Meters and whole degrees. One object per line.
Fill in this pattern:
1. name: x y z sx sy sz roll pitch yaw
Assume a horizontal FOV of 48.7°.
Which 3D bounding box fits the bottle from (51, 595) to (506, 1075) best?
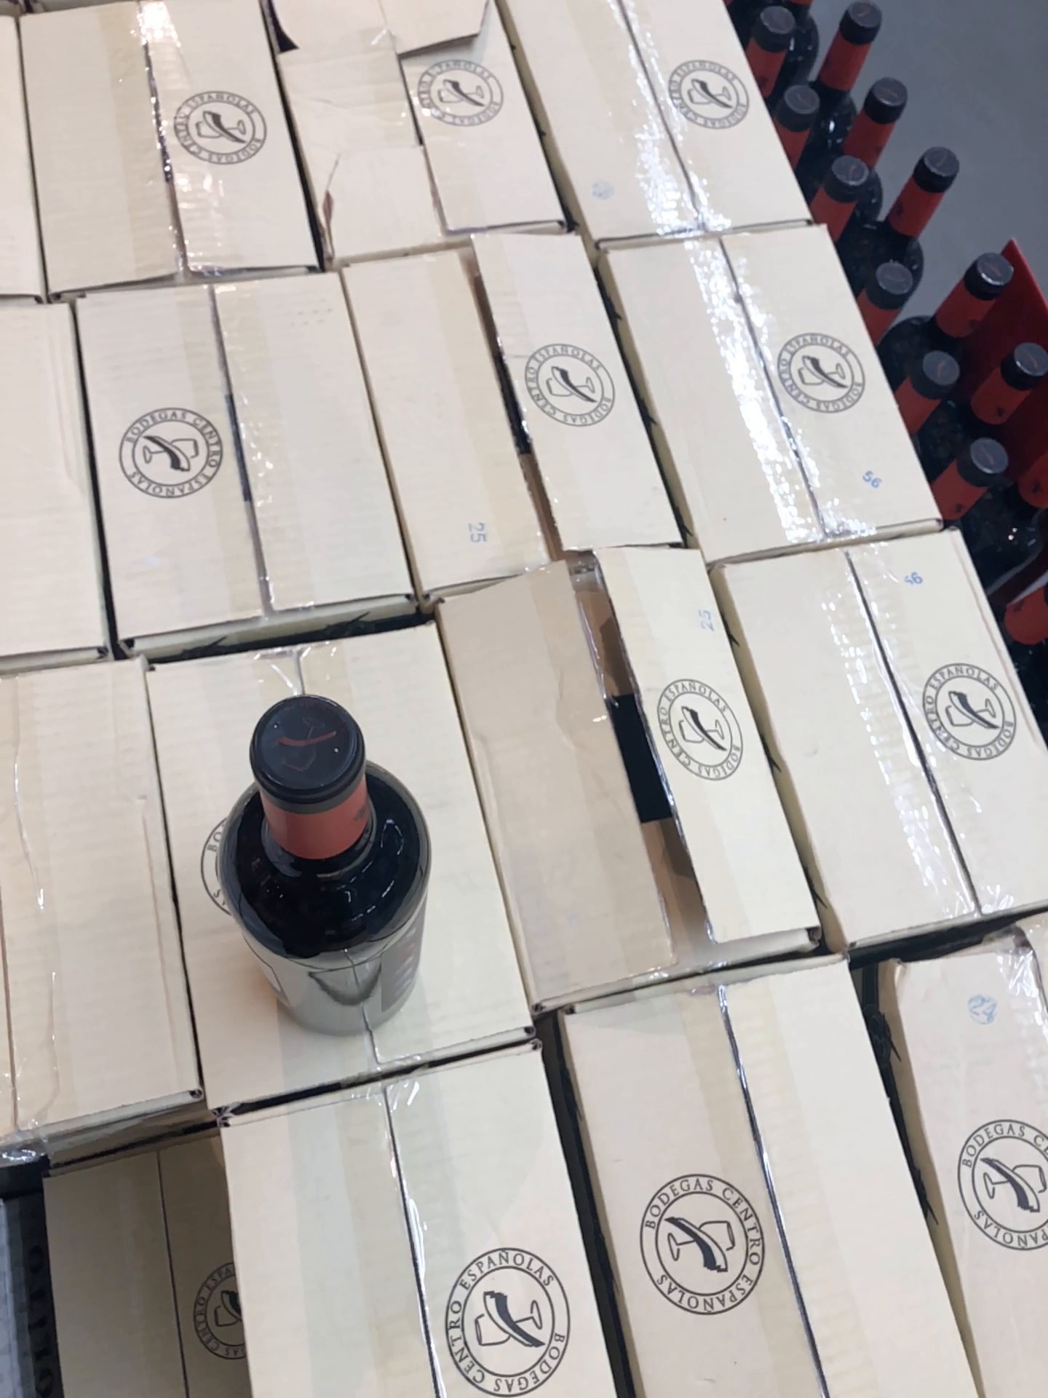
1. bottle: -0.077 0.076 0.431 0.090 0.299 0.090 3 69 -7
